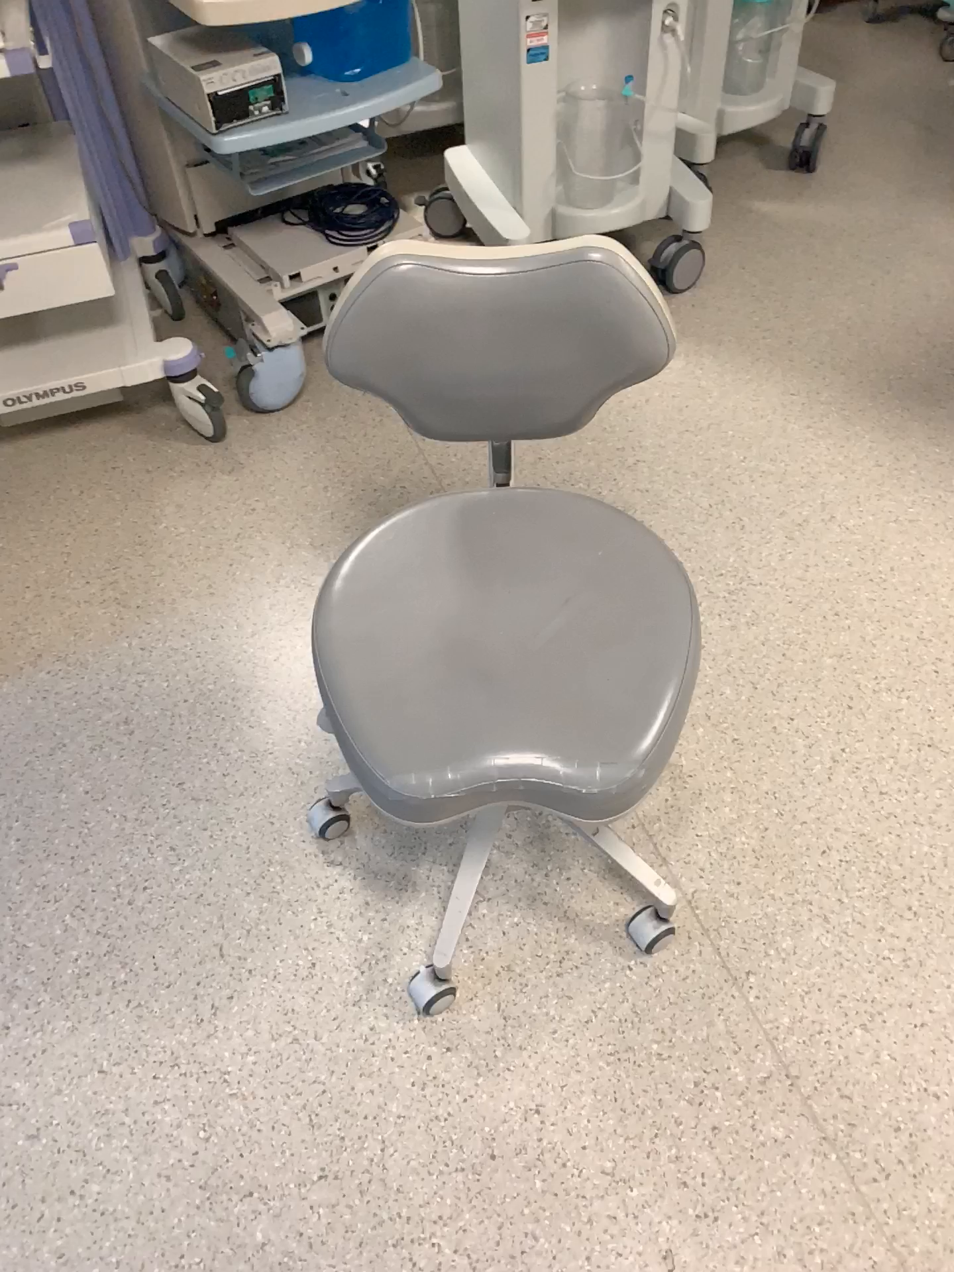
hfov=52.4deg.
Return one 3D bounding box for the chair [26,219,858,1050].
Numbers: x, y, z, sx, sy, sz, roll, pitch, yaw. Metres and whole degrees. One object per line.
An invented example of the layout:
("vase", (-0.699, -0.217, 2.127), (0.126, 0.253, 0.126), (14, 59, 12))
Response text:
("chair", (-0.020, 0.048, 1.207), (0.600, 0.823, 0.605), (-4, 49, 0))
